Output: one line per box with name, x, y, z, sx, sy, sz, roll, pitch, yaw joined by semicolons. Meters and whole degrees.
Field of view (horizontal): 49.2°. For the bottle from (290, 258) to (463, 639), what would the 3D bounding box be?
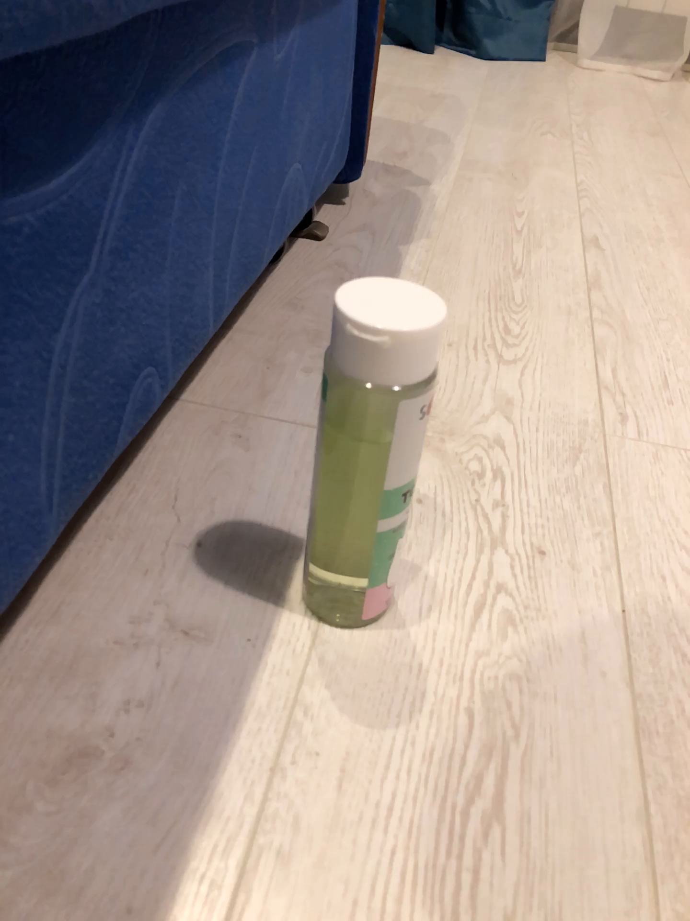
bottle;0.011;0.001;0.335;0.053;0.159;0.057;4;37;-3
